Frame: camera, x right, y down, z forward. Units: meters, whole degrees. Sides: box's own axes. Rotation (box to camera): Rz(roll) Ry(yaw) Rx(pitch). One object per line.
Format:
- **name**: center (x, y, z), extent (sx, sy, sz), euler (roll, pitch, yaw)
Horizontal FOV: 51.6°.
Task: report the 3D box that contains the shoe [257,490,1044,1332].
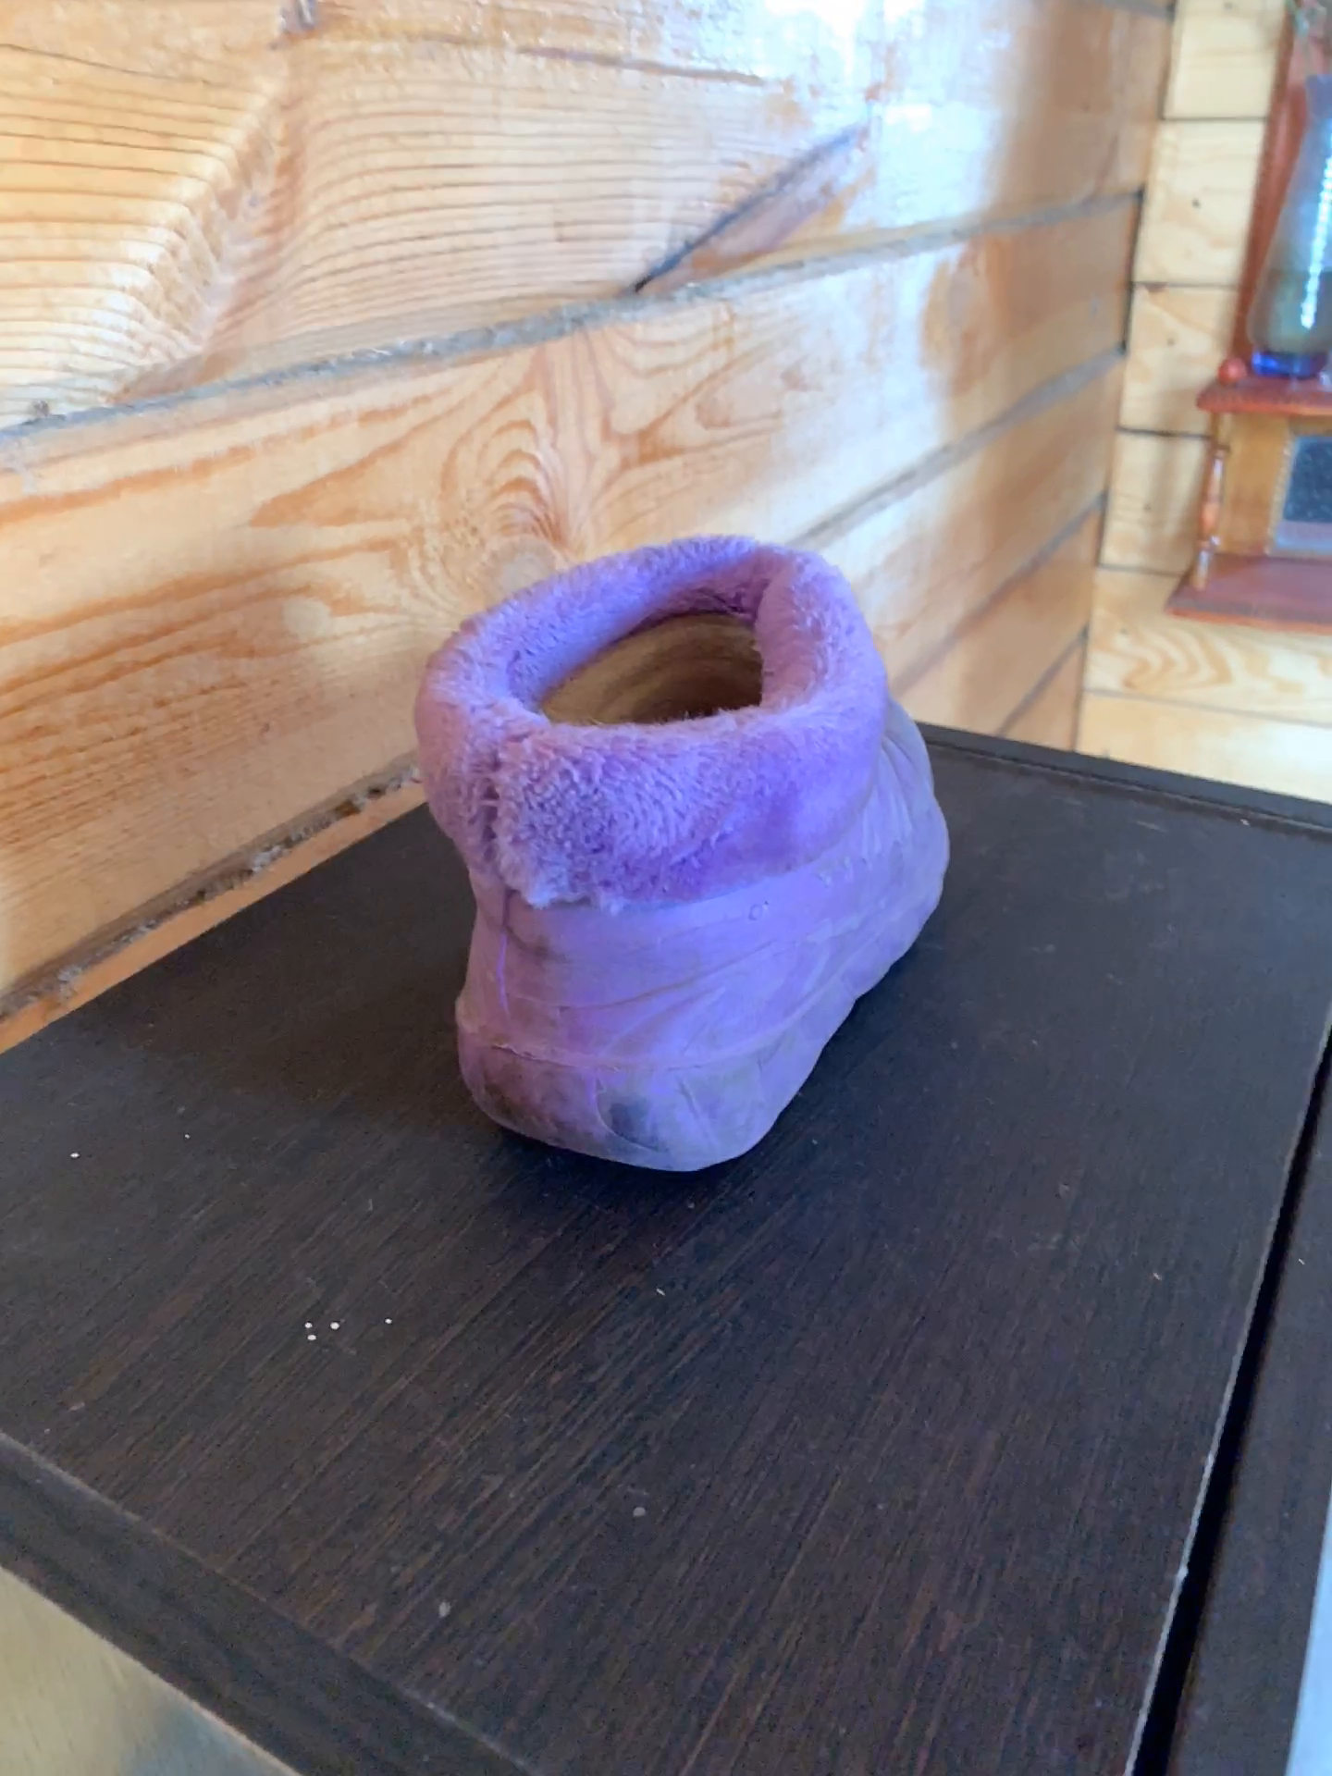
- **shoe**: center (0.015, -0.018, 0.319), extent (0.090, 0.099, 0.201), euler (12, 31, 23)
